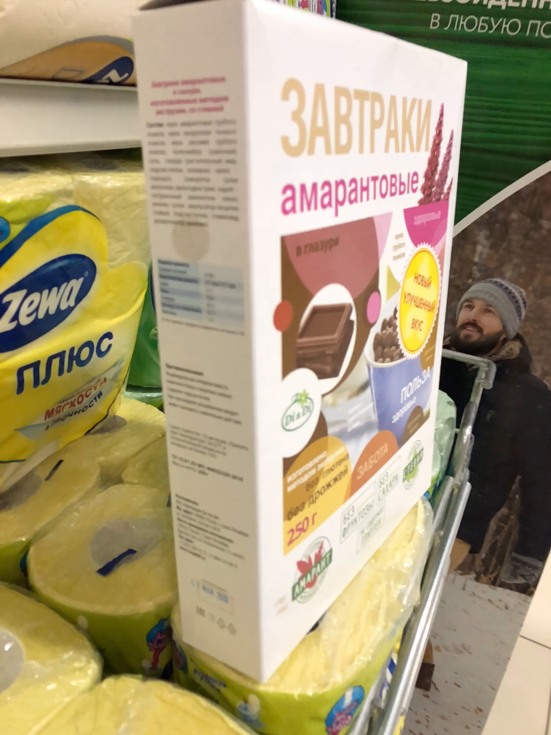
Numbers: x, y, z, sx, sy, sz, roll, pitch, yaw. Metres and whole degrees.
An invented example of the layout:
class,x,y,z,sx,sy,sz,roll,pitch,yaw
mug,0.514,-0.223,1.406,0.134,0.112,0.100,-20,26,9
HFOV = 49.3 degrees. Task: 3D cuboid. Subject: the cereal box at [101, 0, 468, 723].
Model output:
class,x,y,z,sx,sy,sz,roll,pitch,yaw
cereal box,0.025,-0.017,0.284,0.050,0.269,0.191,11,24,32
